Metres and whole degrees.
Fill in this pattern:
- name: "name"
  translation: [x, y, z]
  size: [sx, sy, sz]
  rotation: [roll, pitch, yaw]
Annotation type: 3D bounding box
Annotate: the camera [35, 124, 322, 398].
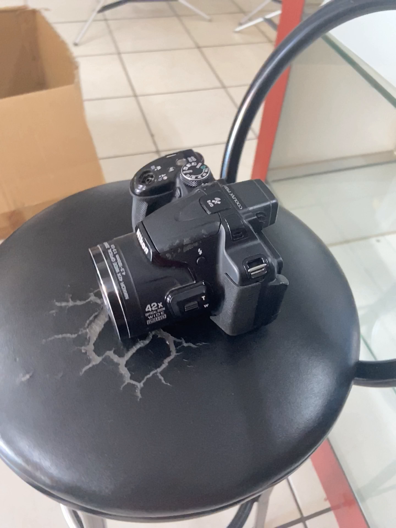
- name: "camera"
  translation: [-0.019, -0.012, 0.257]
  size: [0.120, 0.070, 0.130]
  rotation: [-18, 53, -18]
